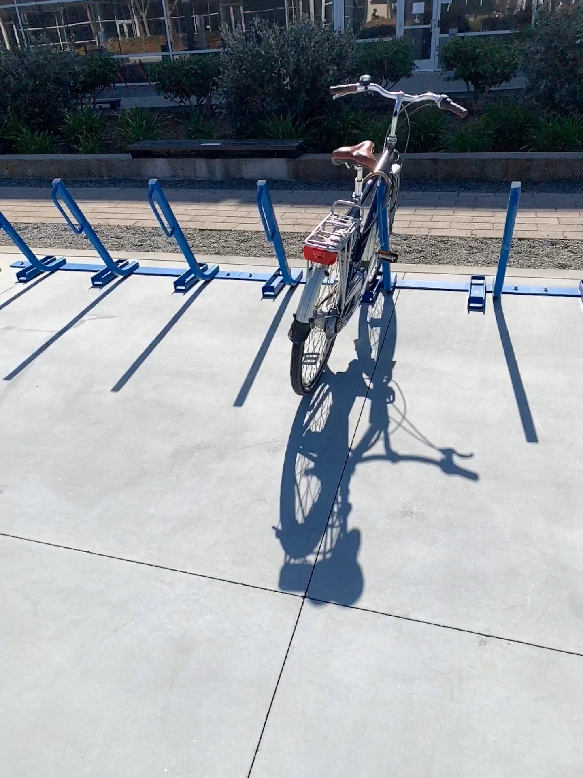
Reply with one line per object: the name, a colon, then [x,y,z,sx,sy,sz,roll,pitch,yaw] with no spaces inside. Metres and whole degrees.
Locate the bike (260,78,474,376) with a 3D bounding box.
bike: [0.380,-0.757,2.556,0.591,0.915,1.065,8,34,19]
